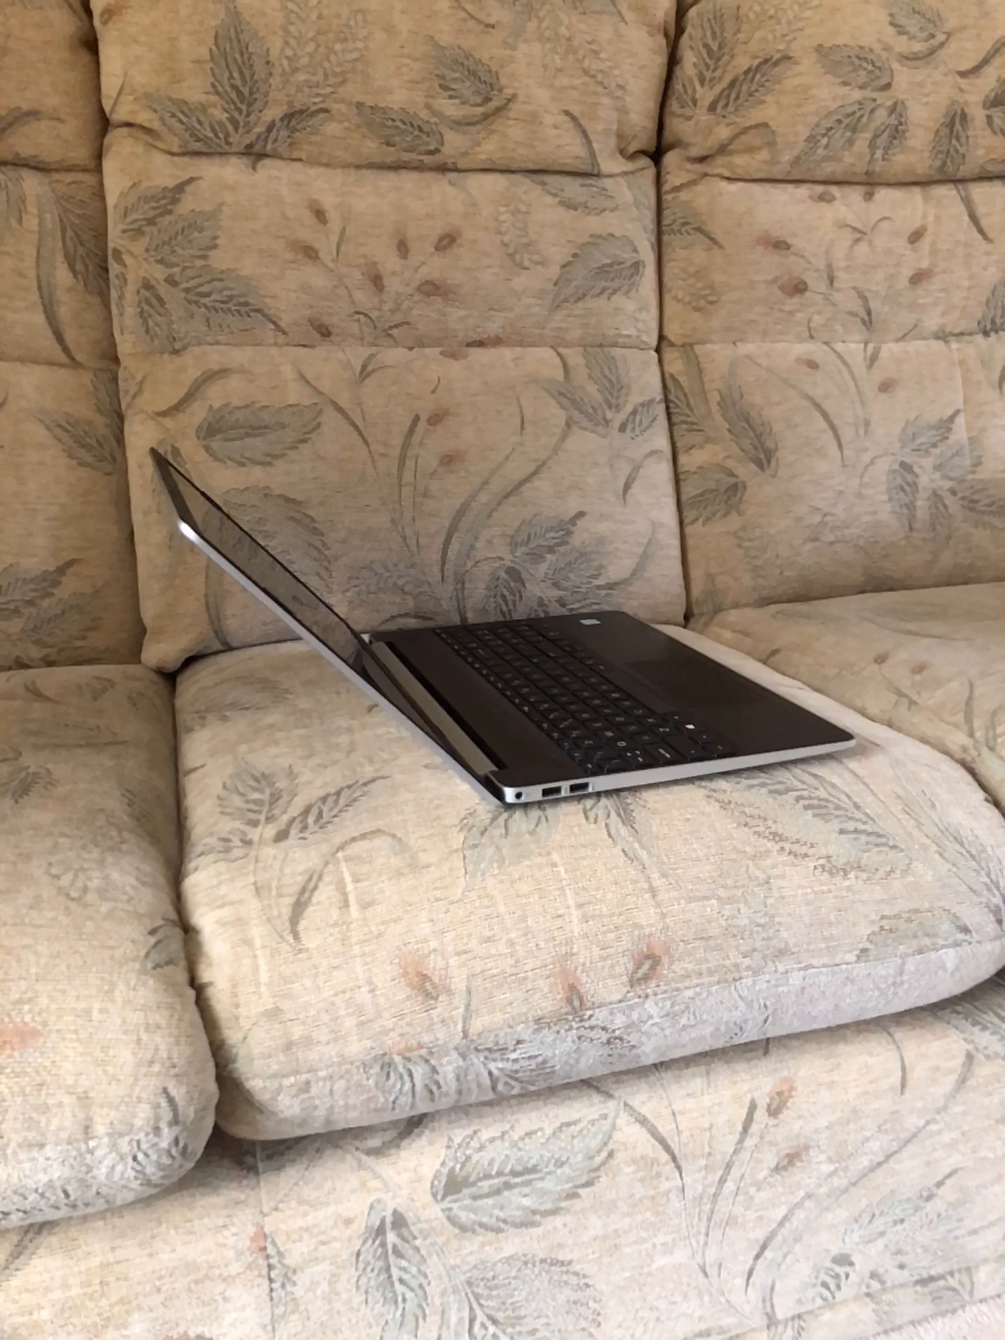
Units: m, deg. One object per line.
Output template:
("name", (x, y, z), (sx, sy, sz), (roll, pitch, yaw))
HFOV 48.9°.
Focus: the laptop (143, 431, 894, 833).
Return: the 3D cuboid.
("laptop", (-0.019, -0.060, 0.749), (0.397, 0.163, 0.340), (-6, 20, -19))
